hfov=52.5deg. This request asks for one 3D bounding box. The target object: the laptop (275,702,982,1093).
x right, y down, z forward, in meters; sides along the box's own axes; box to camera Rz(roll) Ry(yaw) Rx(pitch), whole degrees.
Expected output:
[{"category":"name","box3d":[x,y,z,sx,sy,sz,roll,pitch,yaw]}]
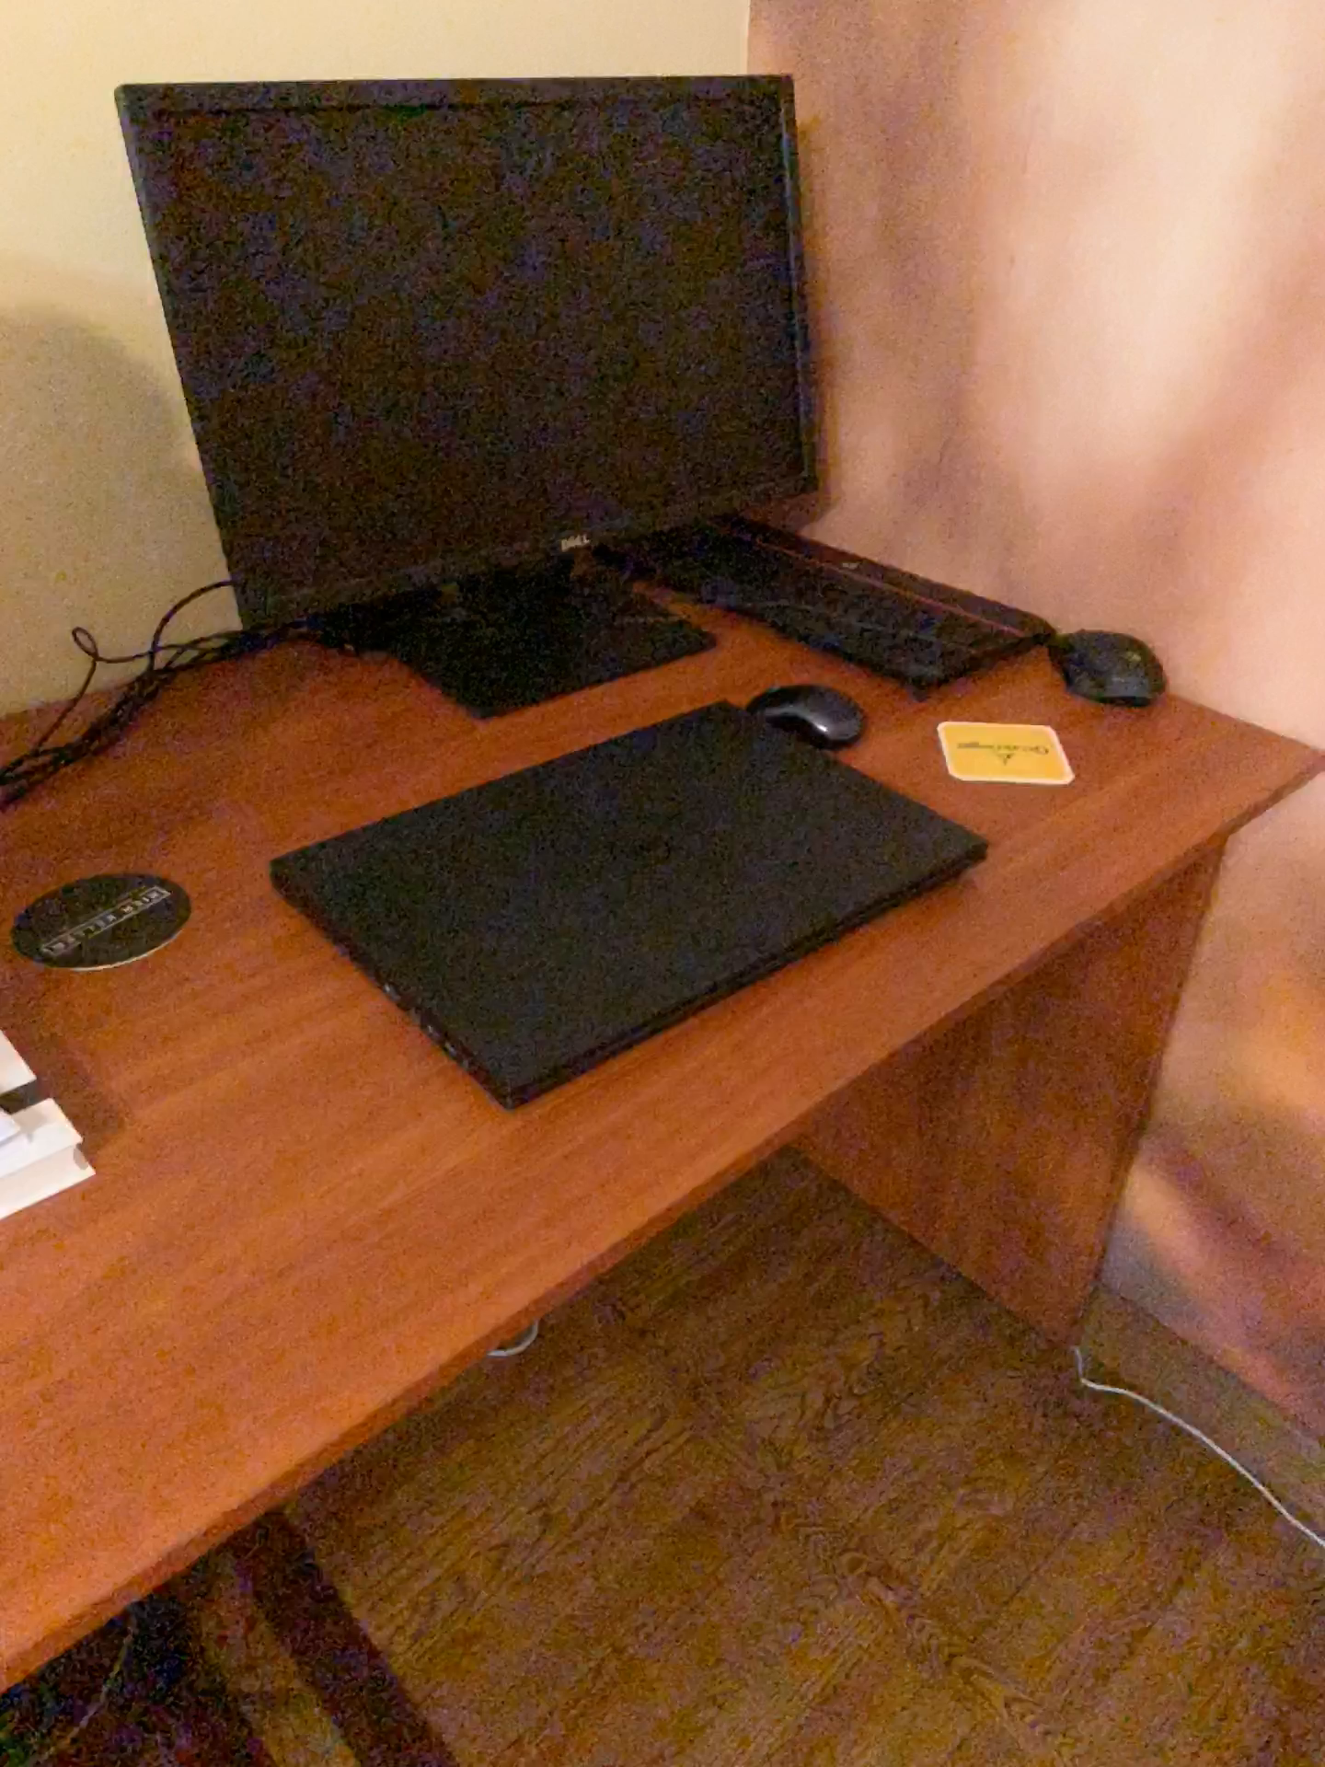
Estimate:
[{"category":"laptop","box3d":[-0.014,-0.018,0.814,0.361,0.002,0.248,-24,42,-35]}]
